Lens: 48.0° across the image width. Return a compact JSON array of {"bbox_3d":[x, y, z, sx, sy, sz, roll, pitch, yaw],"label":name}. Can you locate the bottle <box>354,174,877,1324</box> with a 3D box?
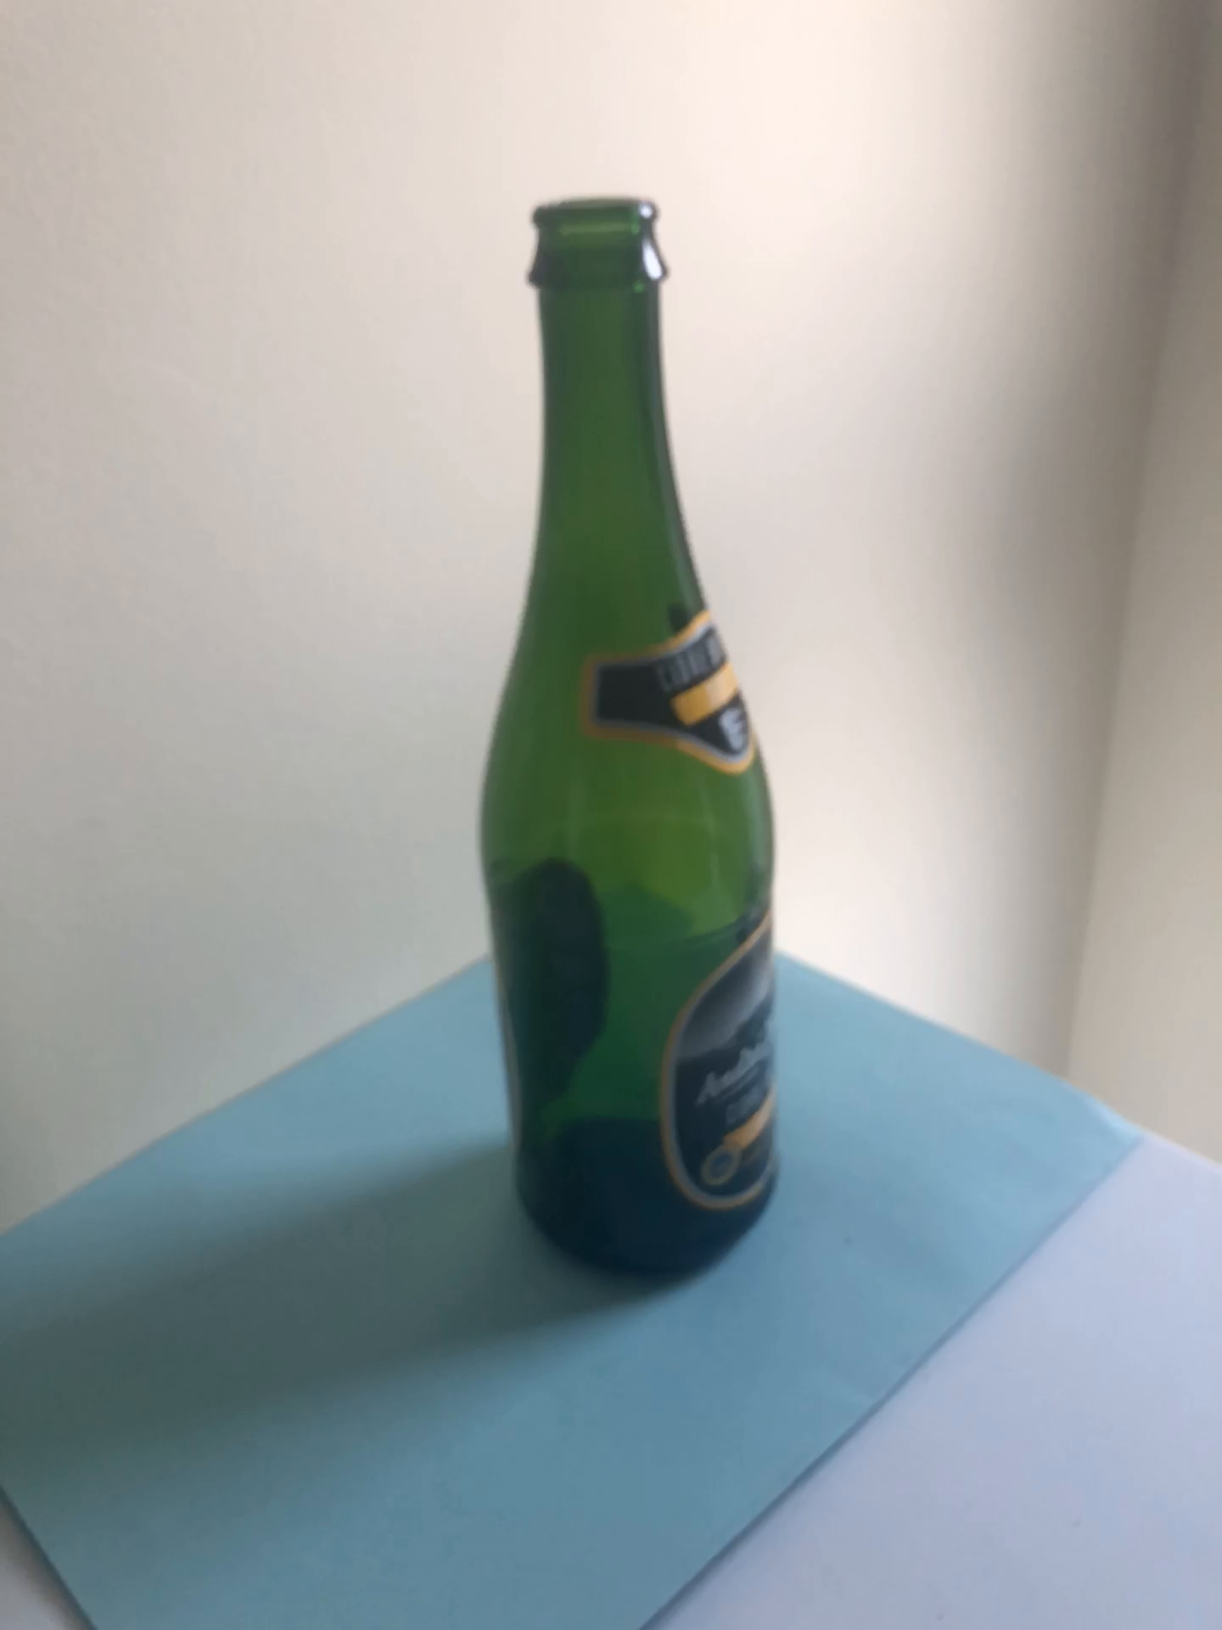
[{"bbox_3d":[0.011,-0.012,0.362,0.080,0.278,0.091,12,31,27],"label":"bottle"}]
